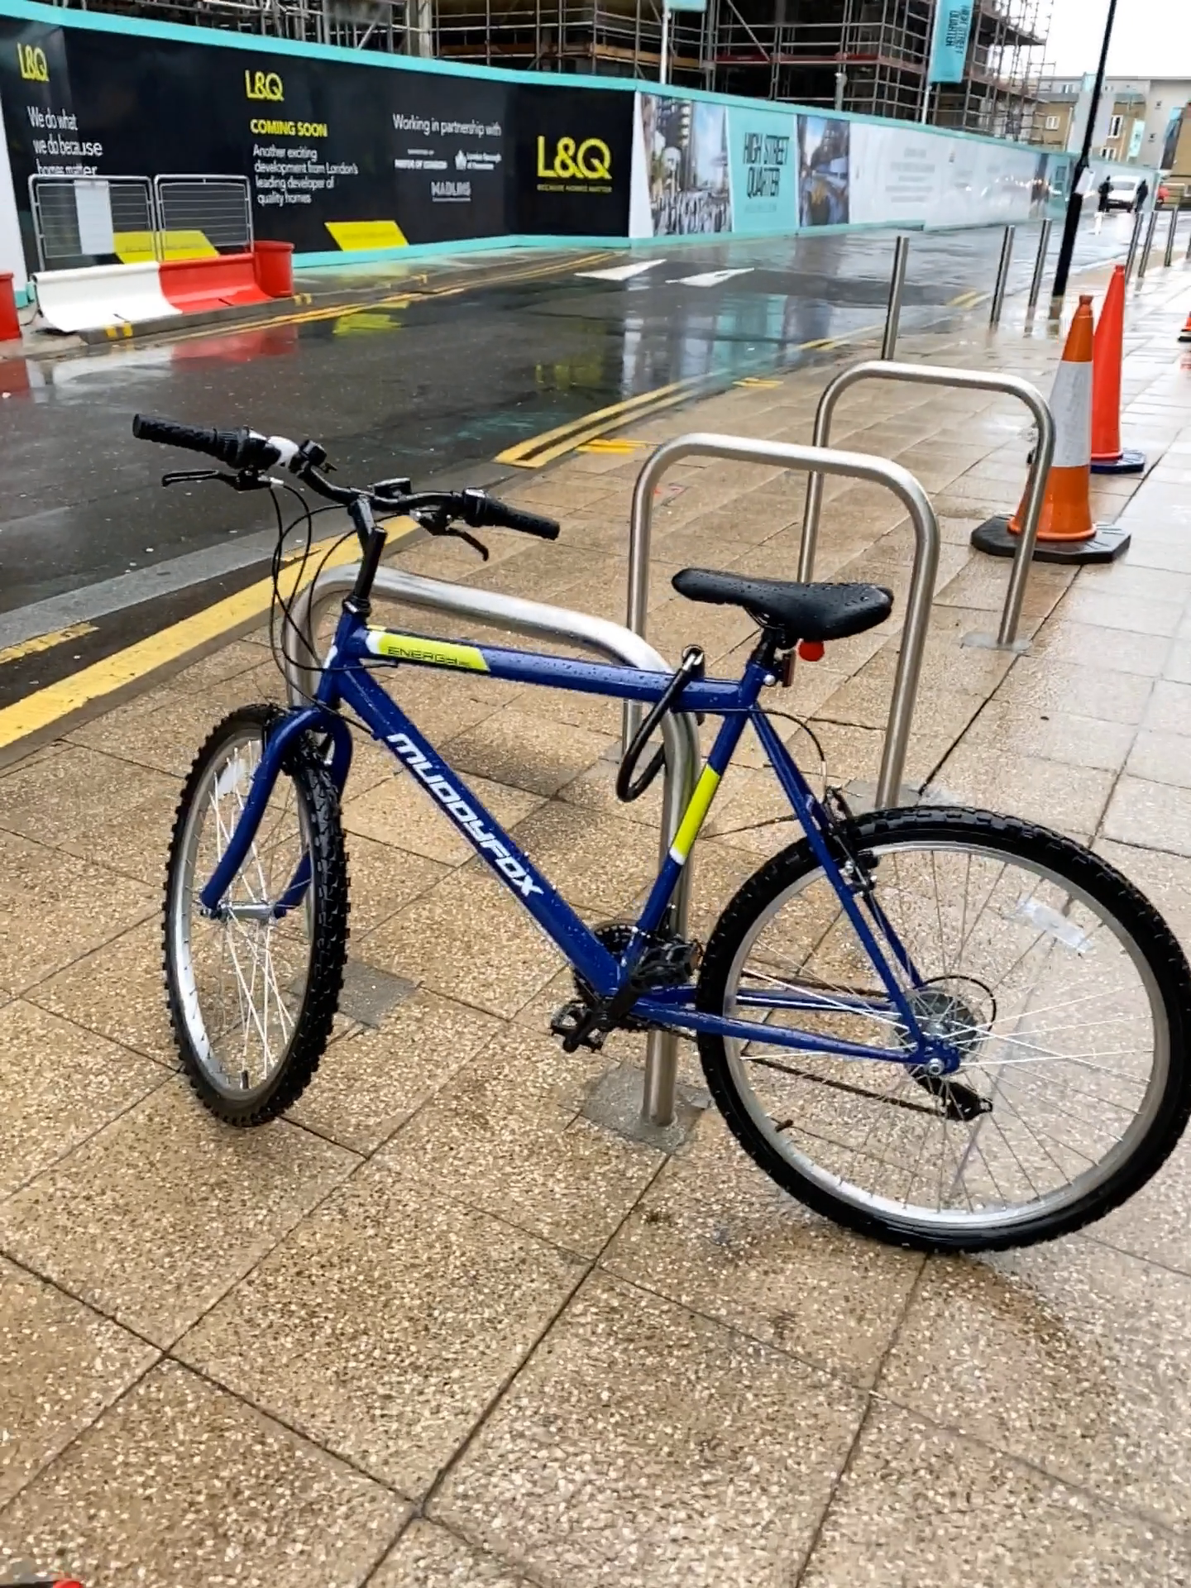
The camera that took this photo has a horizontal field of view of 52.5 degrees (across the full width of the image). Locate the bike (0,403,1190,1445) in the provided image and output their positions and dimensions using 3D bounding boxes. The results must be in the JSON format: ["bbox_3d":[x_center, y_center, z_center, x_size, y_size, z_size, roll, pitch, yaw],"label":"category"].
[{"bbox_3d":[0.028,0.047,1.710,1.593,1.012,0.600,10,28,21],"label":"bike"}]
